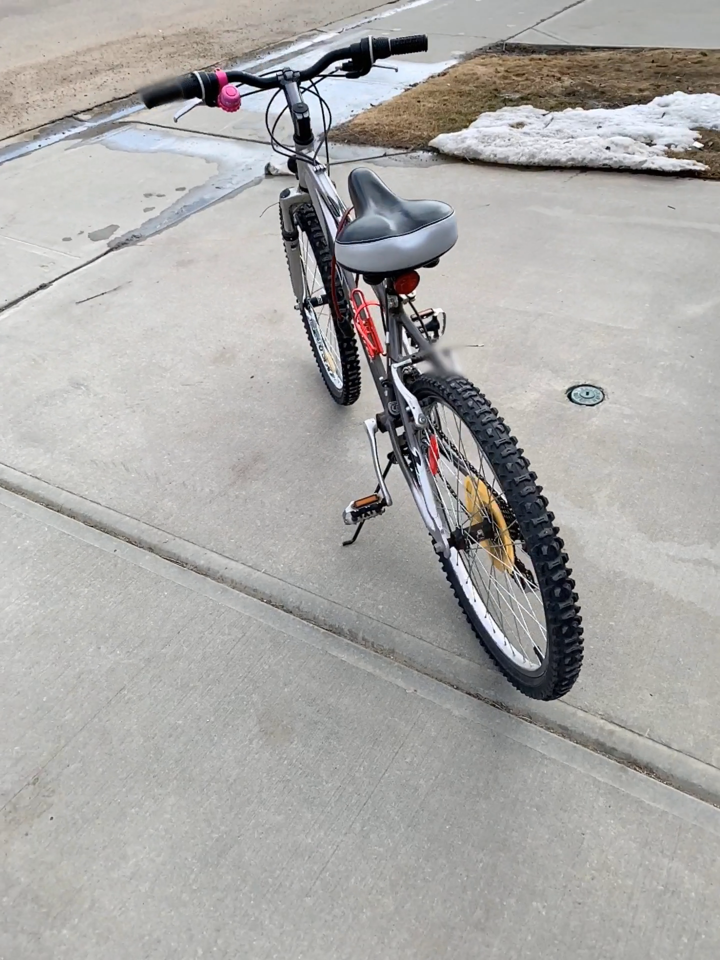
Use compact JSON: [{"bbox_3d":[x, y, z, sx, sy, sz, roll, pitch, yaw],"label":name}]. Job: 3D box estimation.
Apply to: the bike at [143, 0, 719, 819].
[{"bbox_3d":[0.015,-0.324,1.478,0.539,0.825,1.507,-14,45,-13],"label":"bike"}]
